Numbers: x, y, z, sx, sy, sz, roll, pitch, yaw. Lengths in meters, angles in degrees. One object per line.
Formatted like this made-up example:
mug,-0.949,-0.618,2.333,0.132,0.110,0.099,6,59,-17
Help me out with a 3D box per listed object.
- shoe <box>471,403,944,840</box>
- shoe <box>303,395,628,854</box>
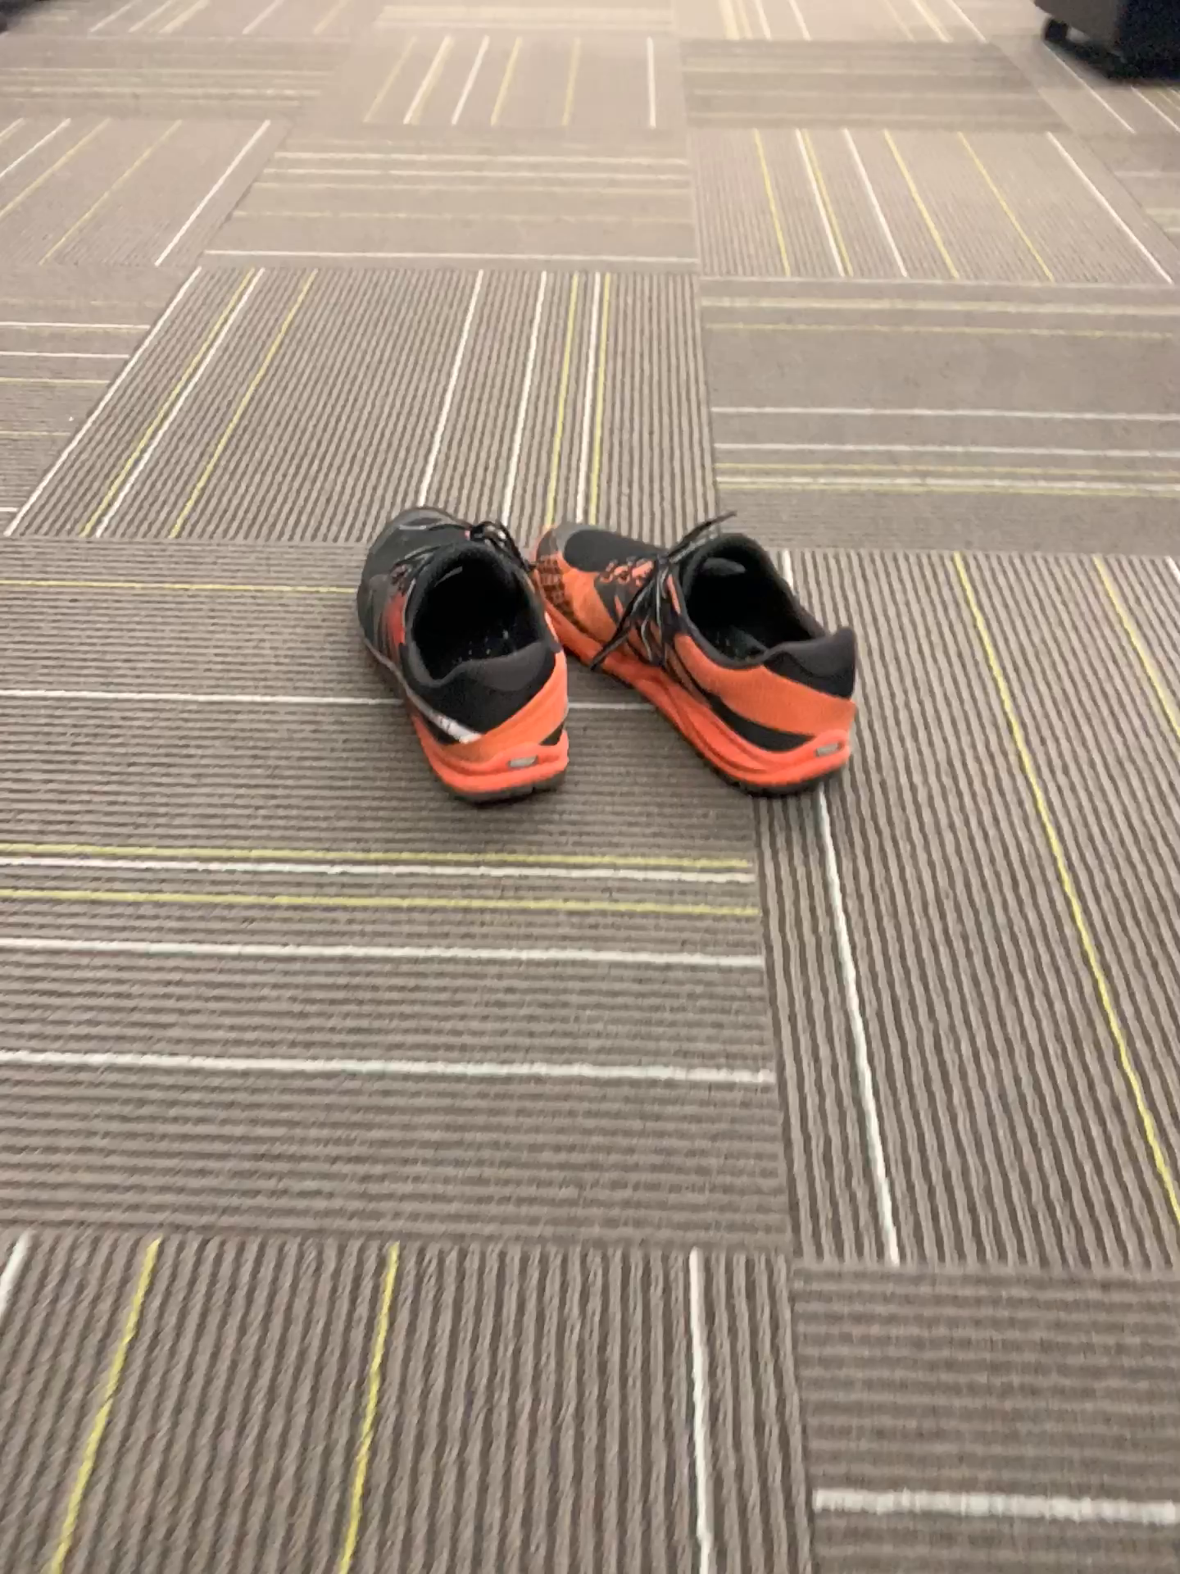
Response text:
shoe,0.064,-0.126,0.825,0.130,0.129,0.311,-28,50,-27
shoe,-0.092,-0.125,0.817,0.130,0.129,0.322,-13,45,-14
